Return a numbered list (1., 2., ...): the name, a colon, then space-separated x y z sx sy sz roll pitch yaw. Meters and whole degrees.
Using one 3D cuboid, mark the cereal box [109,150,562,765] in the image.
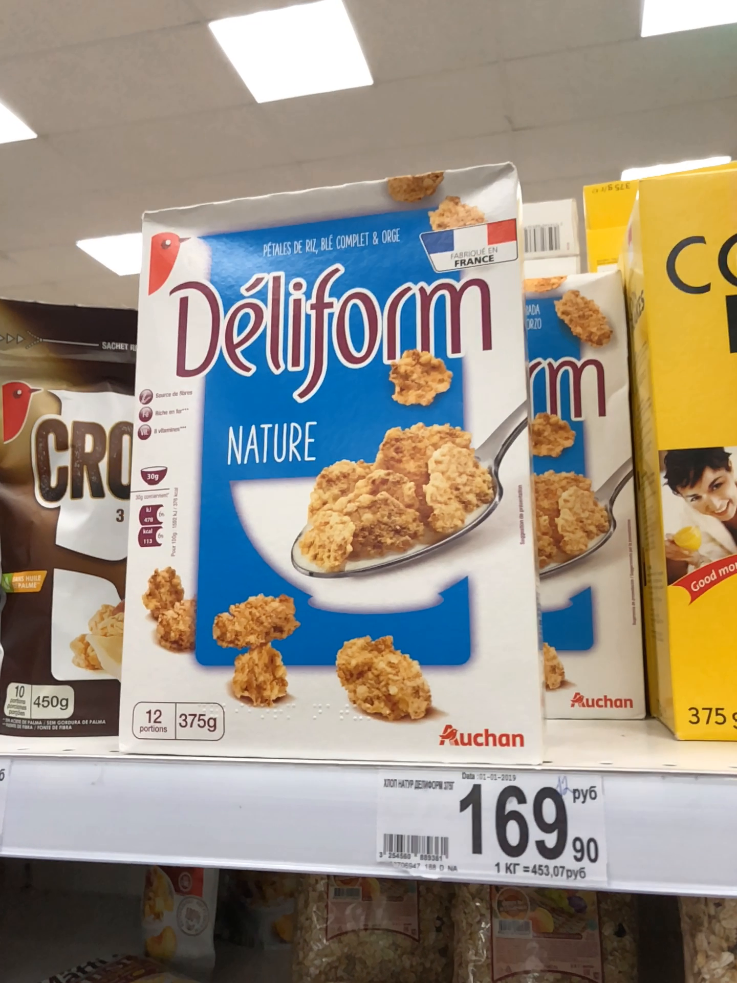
1. cereal box: -0.015 -0.015 0.400 0.200 0.271 0.060 -3 -11 13
